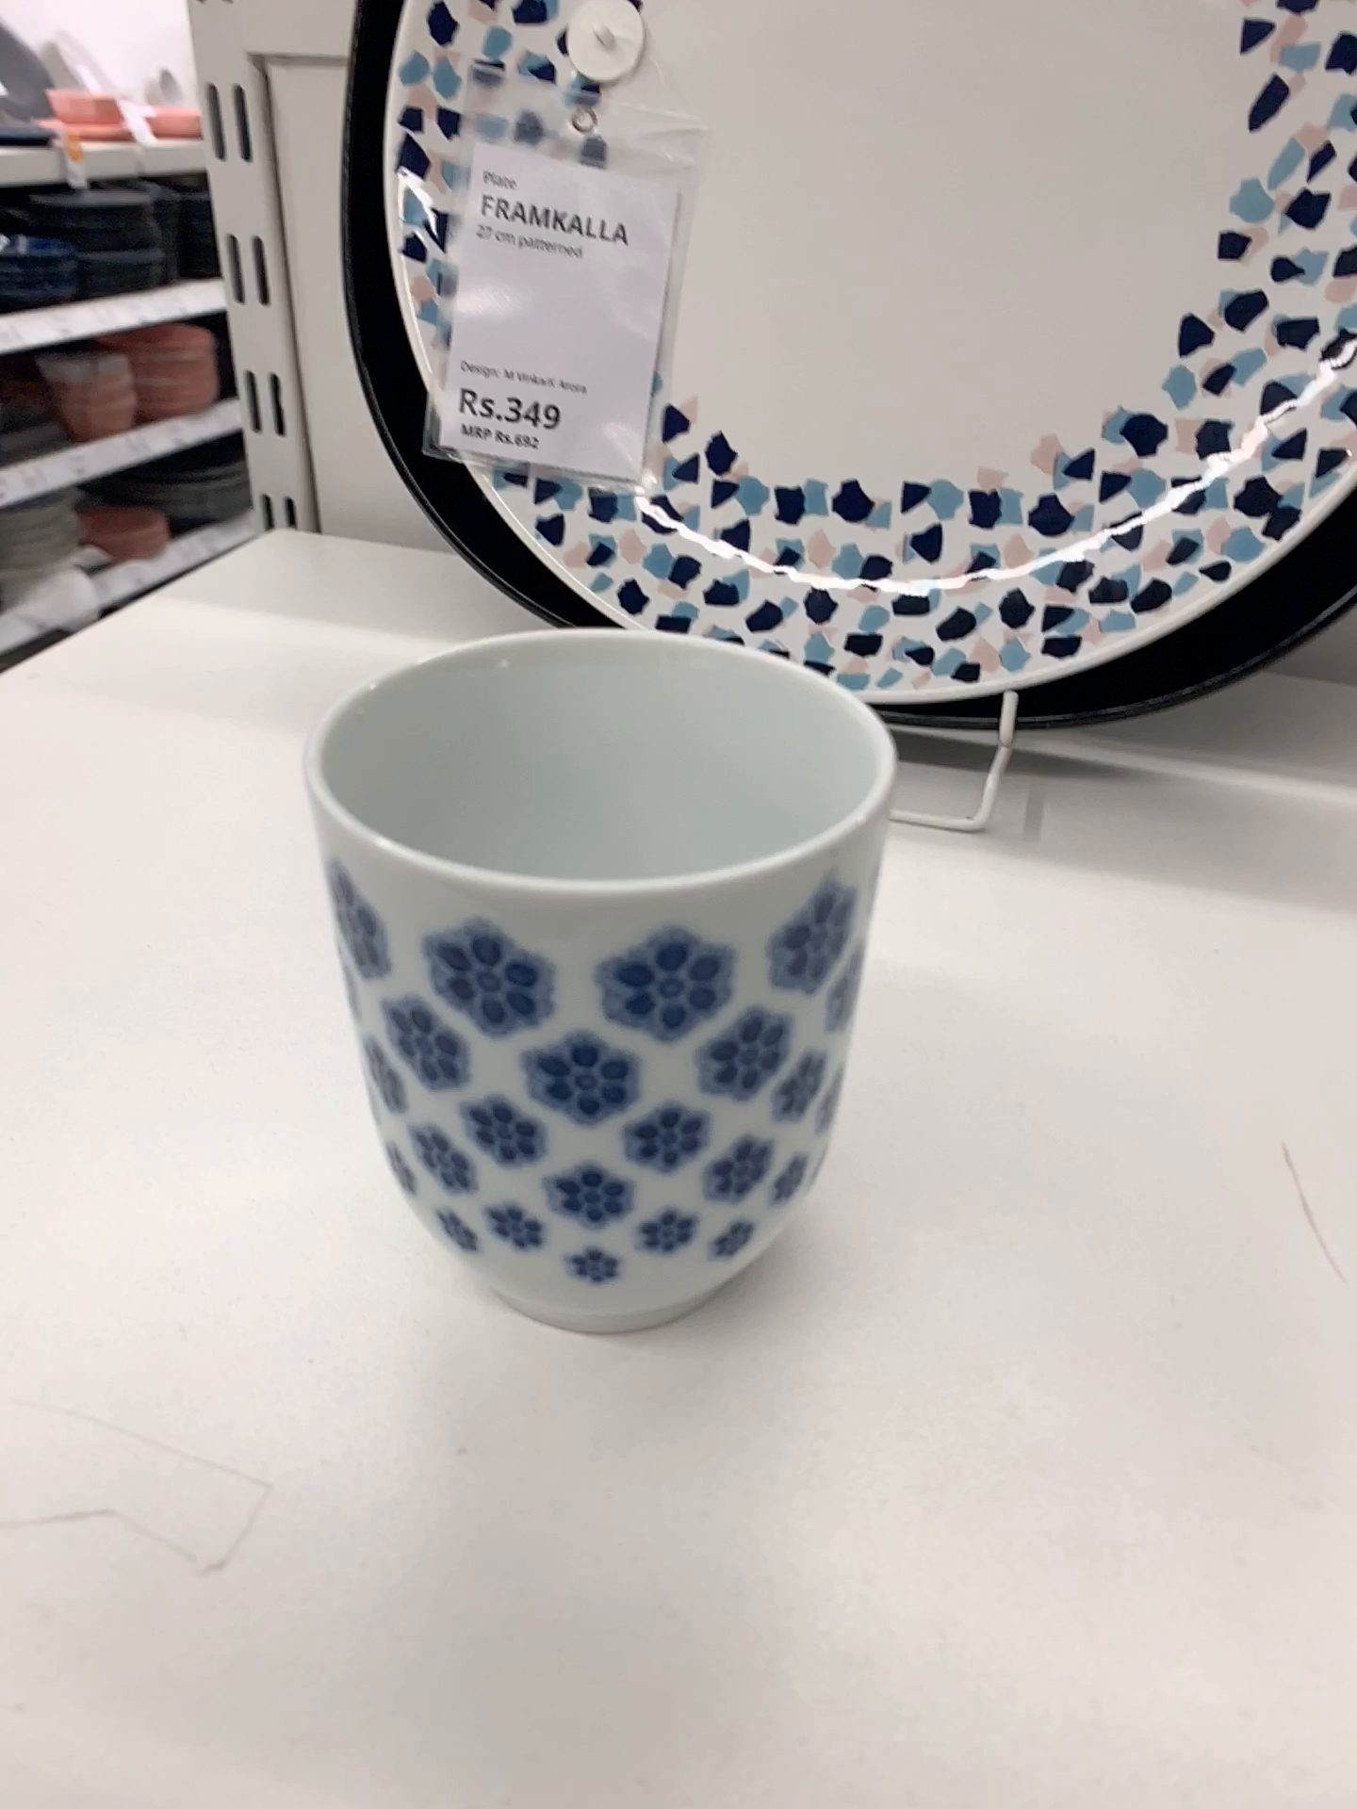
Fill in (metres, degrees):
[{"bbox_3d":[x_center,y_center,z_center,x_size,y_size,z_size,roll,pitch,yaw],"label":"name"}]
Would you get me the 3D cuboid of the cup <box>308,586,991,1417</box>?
[{"bbox_3d":[-0.010,0.008,0.196,0.070,0.080,0.080,-3,31,-9],"label":"cup"}]
